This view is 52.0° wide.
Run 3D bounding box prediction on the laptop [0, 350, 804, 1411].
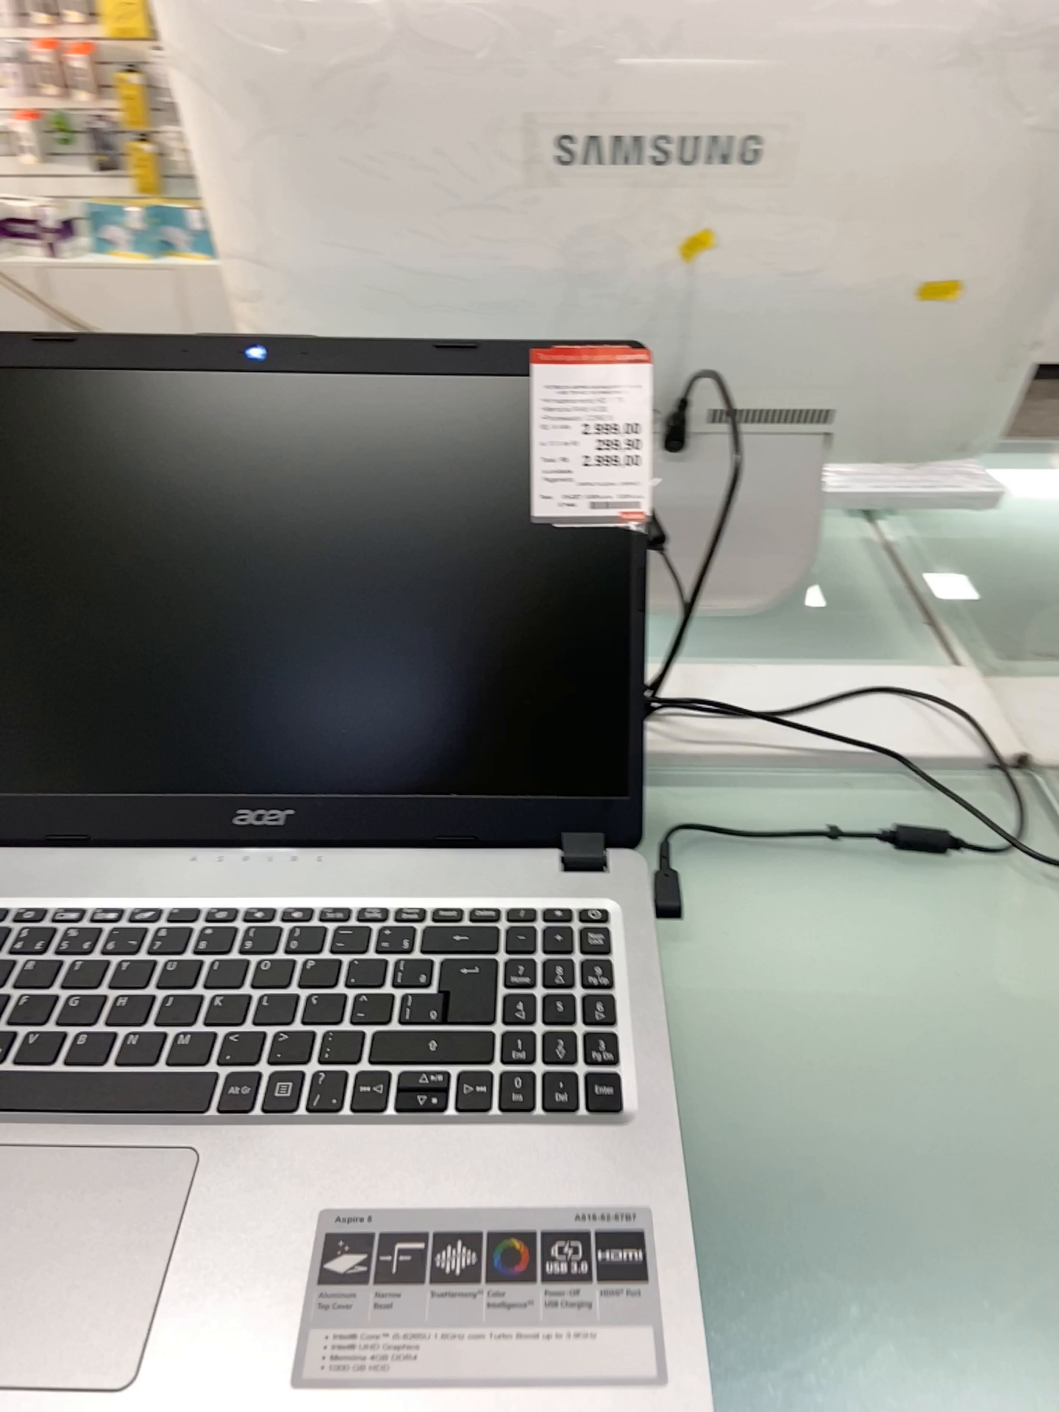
[{"bbox_3d":[-0.130,0.022,0.404,0.365,0.204,0.366,0,34,1],"label":"laptop"}]
